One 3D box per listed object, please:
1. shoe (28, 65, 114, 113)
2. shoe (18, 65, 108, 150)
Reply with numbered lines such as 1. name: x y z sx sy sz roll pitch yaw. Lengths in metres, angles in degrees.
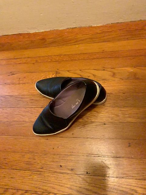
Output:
1. shoe: -0.005 -0.033 0.510 0.260 0.080 0.100 10 67 16
2. shoe: -0.036 0.038 0.440 0.250 0.080 0.100 -41 61 15
